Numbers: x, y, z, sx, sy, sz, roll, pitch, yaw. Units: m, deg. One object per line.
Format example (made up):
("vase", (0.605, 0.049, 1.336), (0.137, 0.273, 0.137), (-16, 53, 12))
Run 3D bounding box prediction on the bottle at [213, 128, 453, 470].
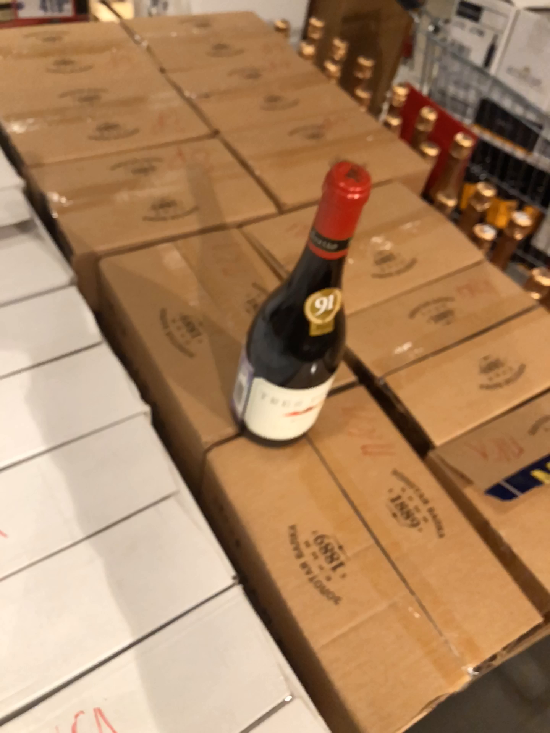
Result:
("bottle", (0.027, -0.040, 0.505), (0.100, 0.268, 0.100), (6, 50, -7))
